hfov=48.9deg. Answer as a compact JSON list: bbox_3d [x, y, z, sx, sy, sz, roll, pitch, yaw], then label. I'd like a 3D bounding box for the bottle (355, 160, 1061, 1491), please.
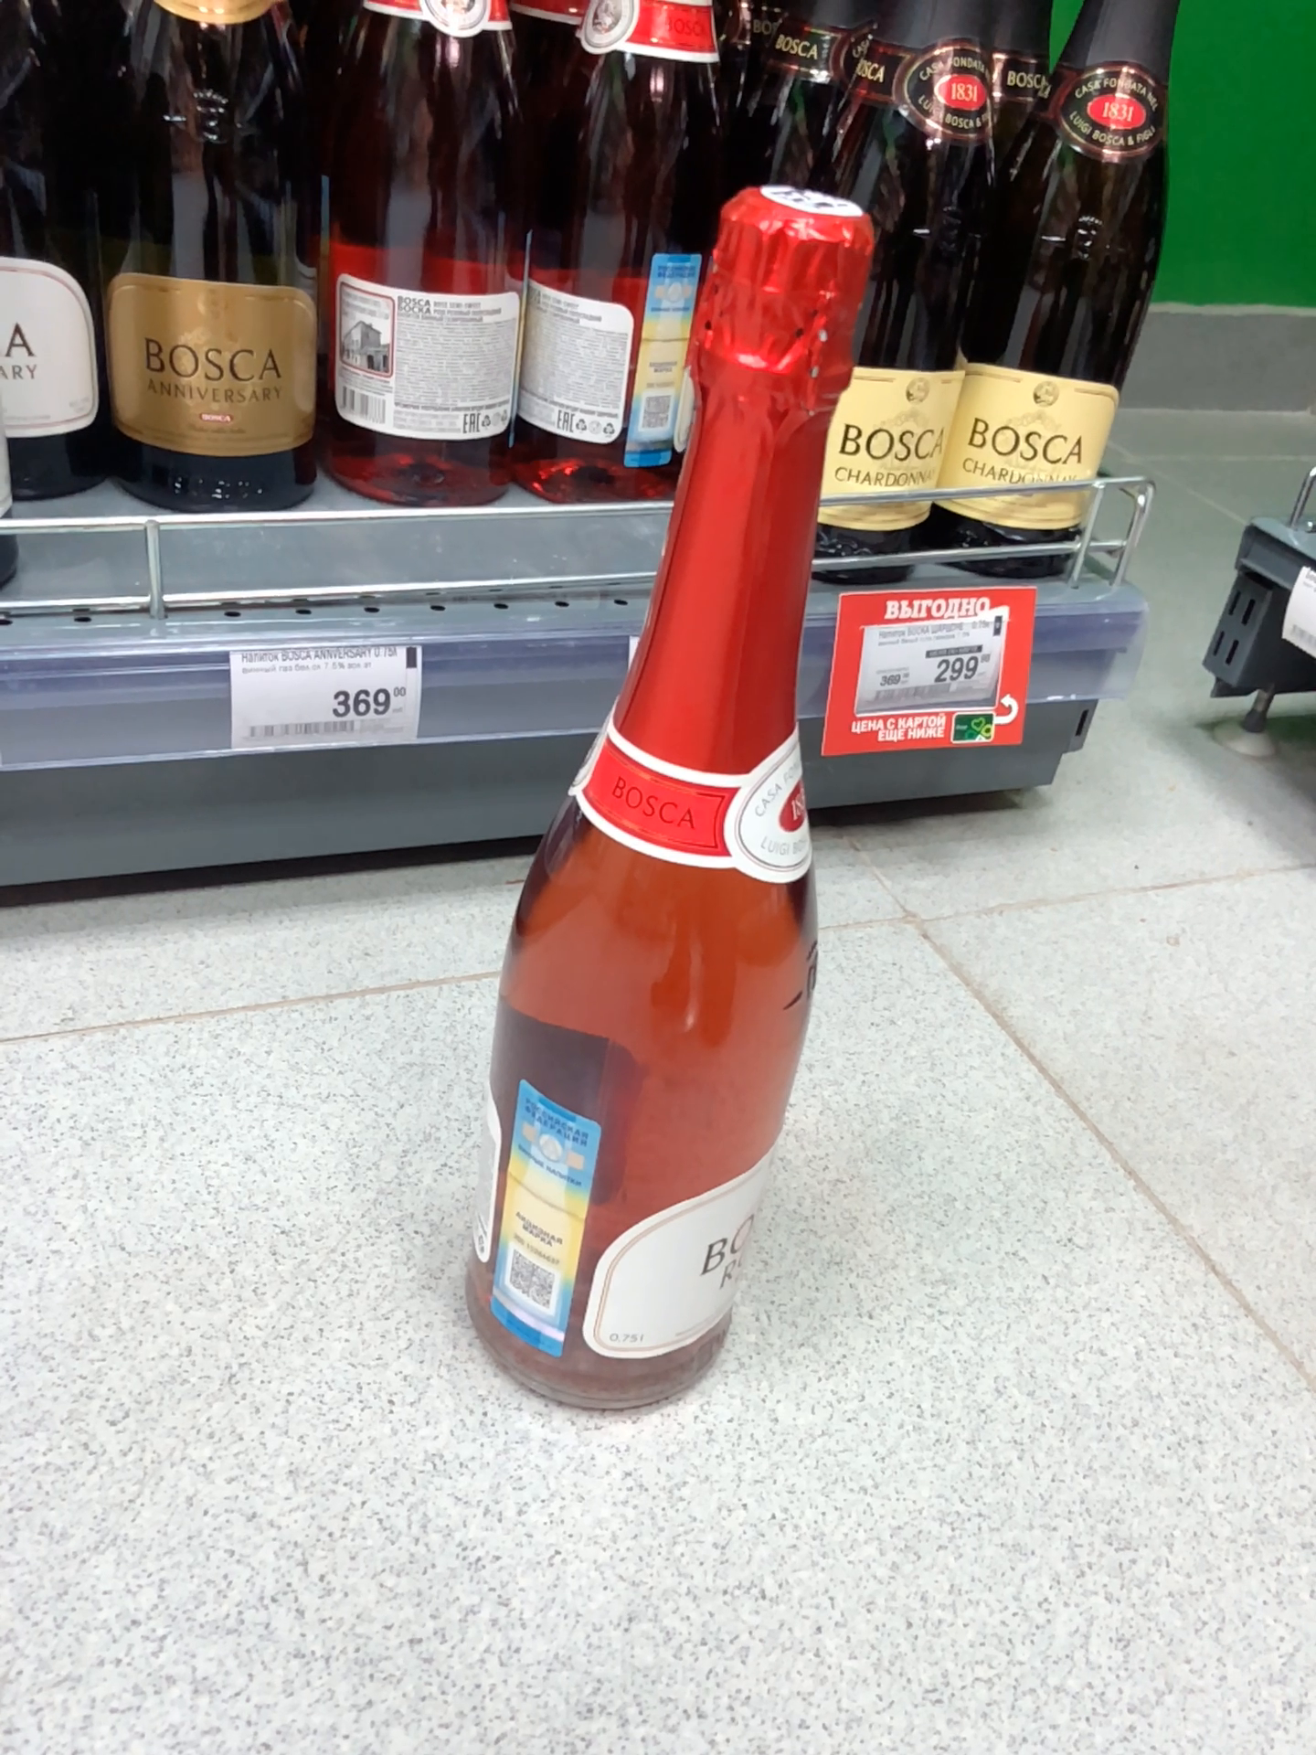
[{"bbox_3d":[-0.002,0.001,0.375,0.100,0.317,0.101,7,33,-5],"label":"bottle"}]
